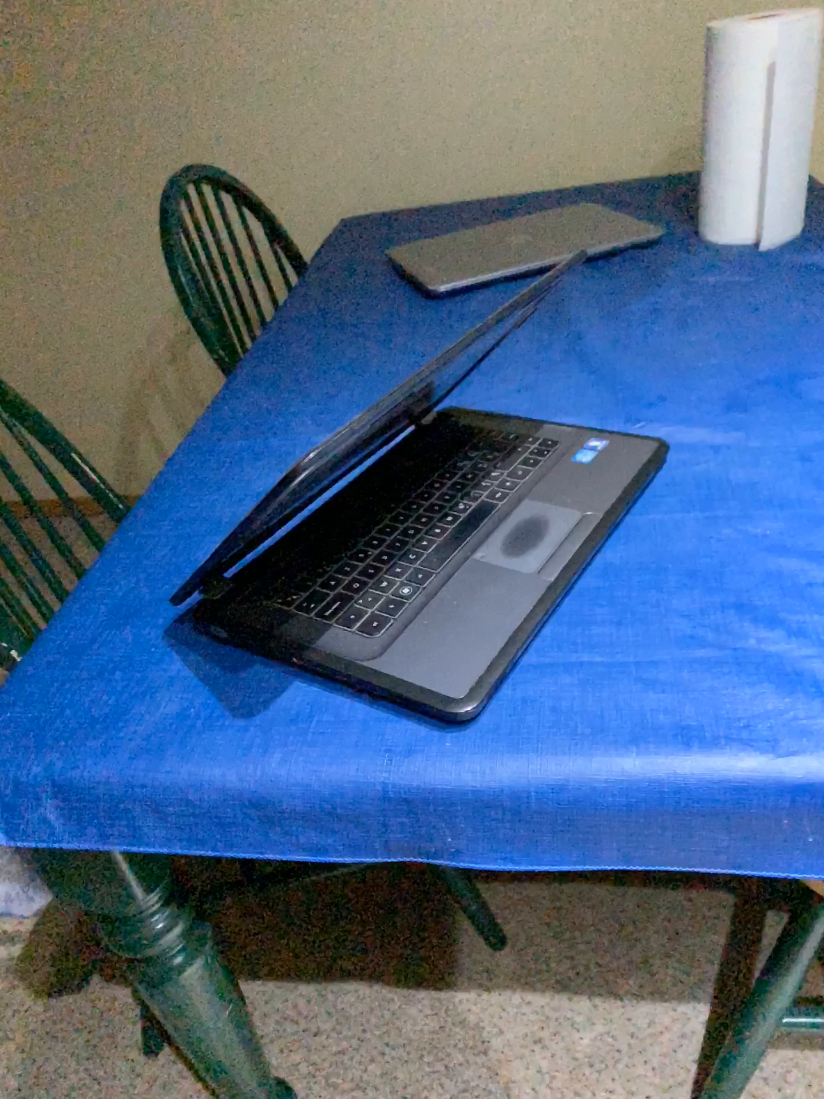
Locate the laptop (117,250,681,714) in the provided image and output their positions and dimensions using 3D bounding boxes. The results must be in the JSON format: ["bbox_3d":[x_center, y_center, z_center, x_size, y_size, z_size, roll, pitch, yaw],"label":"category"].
[{"bbox_3d":[0.022,-0.090,0.634,0.244,0.160,0.363,13,39,31],"label":"laptop"}]
